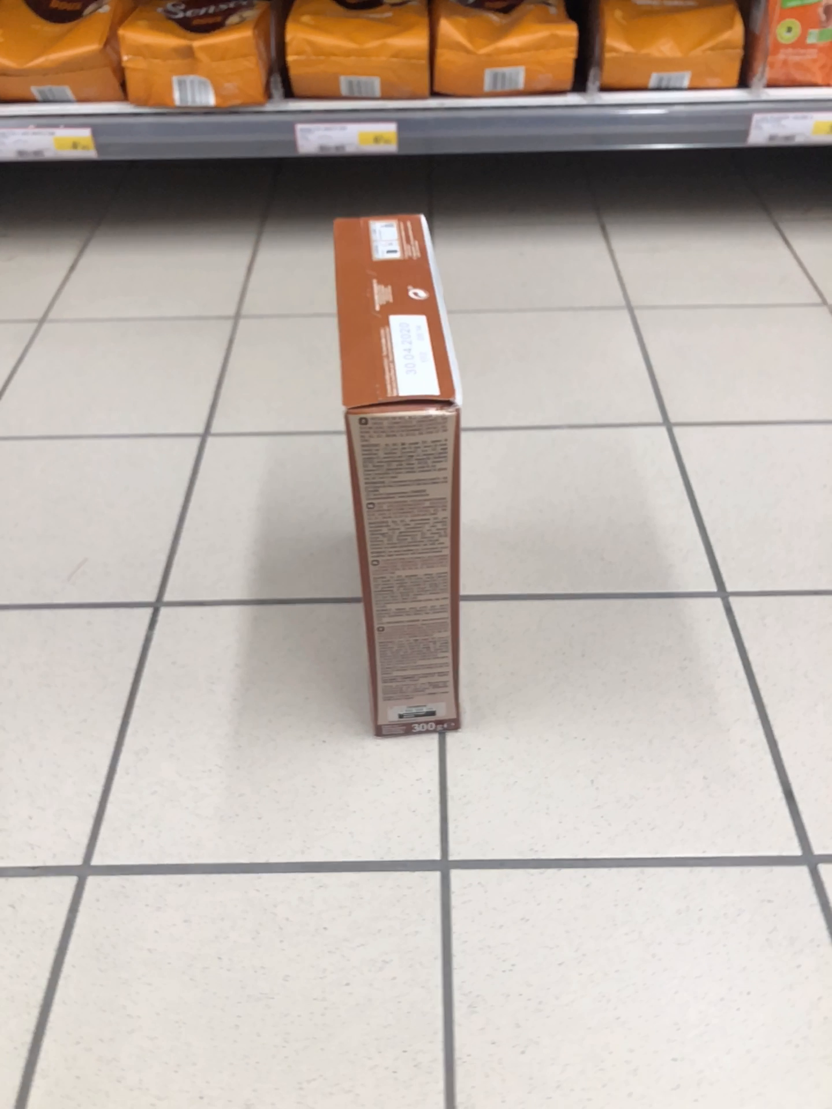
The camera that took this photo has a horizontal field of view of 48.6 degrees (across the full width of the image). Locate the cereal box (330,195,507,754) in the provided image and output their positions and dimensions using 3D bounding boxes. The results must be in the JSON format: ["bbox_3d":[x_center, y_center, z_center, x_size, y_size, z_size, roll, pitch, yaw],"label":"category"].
[{"bbox_3d":[-0.003,-0.046,0.546,0.070,0.249,0.211,-4,43,-3],"label":"cereal box"}]
